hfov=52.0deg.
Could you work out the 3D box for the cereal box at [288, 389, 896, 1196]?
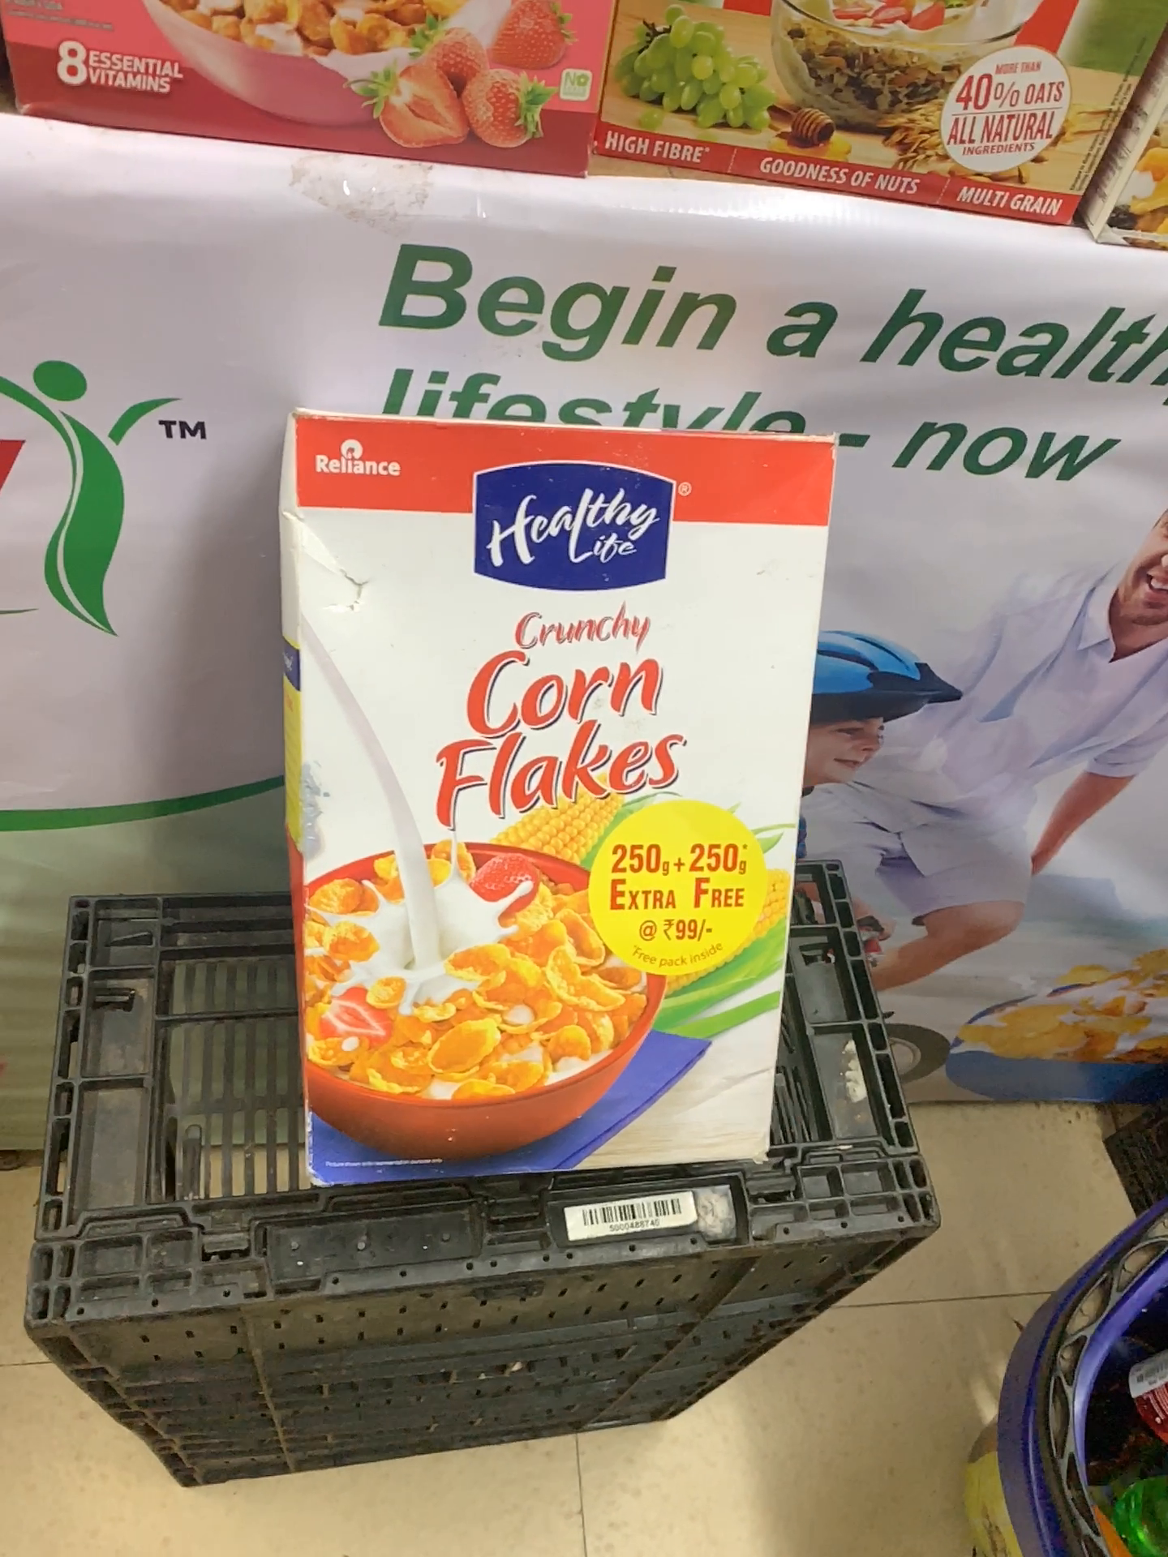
[{"bbox_3d":[-0.007,0.004,0.467,0.200,0.280,0.100,0,13,-9],"label":"cereal box"}]
